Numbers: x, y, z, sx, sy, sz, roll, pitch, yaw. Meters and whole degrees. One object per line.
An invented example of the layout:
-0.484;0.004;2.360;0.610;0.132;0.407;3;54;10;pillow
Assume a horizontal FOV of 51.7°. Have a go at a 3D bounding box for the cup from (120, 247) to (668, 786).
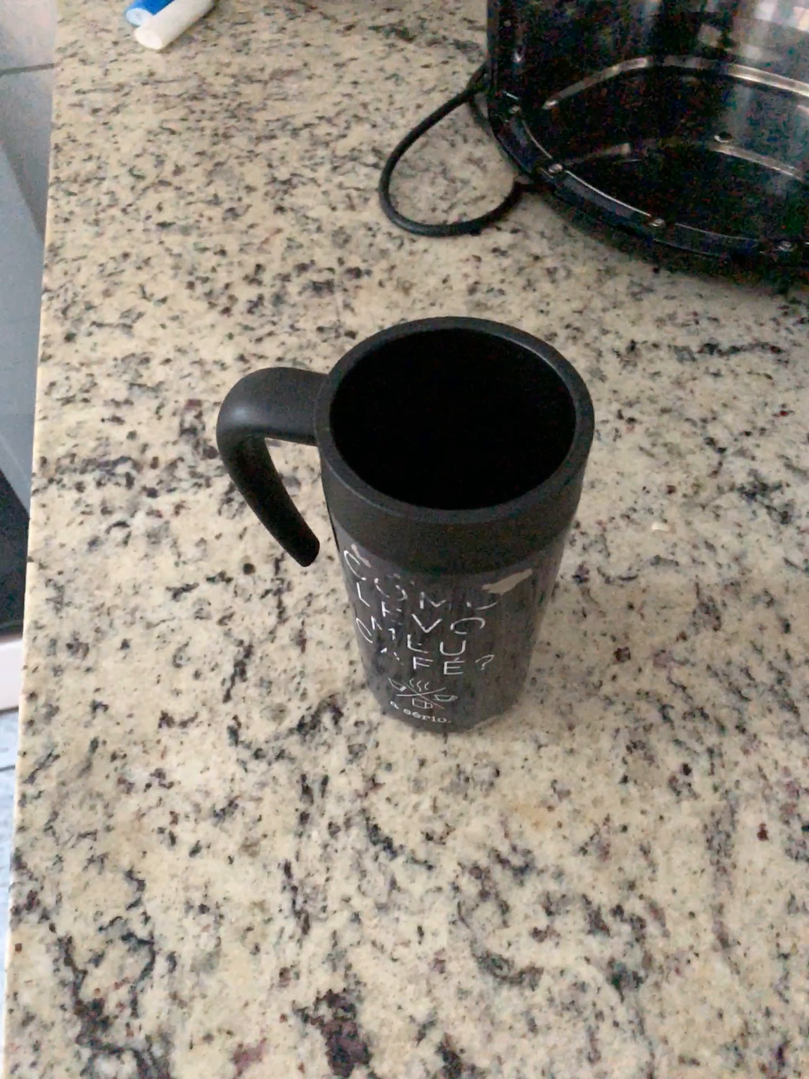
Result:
0.002;0.000;0.270;0.120;0.139;0.080;15;57;12;cup
